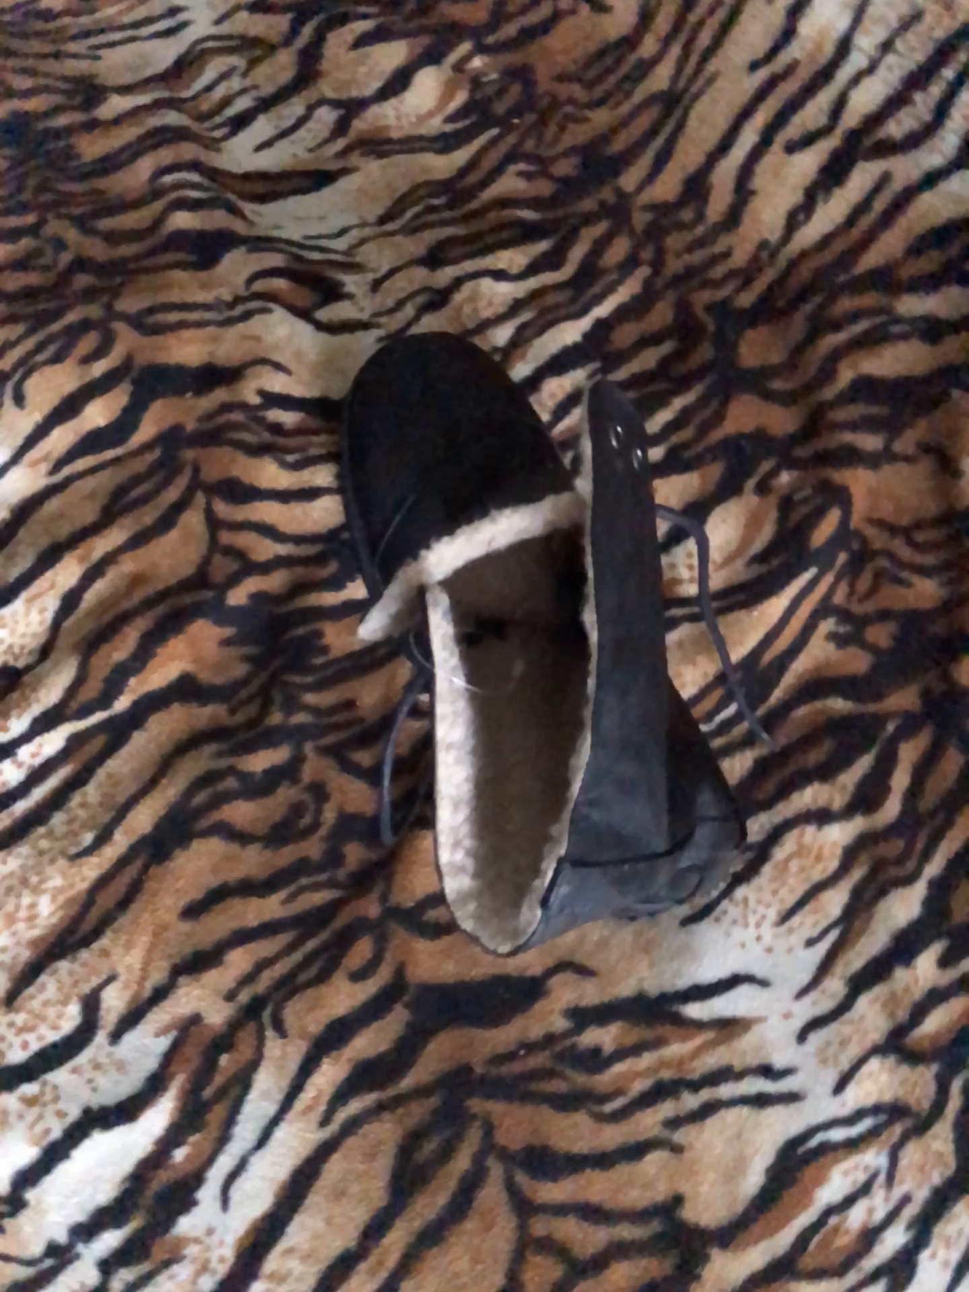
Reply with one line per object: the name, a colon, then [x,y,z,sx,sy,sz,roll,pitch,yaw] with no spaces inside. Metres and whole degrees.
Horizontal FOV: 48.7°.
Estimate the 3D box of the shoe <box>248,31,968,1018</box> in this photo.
shoe: [0.038,-0.038,0.447,0.140,0.200,0.330,-22,72,-12]
